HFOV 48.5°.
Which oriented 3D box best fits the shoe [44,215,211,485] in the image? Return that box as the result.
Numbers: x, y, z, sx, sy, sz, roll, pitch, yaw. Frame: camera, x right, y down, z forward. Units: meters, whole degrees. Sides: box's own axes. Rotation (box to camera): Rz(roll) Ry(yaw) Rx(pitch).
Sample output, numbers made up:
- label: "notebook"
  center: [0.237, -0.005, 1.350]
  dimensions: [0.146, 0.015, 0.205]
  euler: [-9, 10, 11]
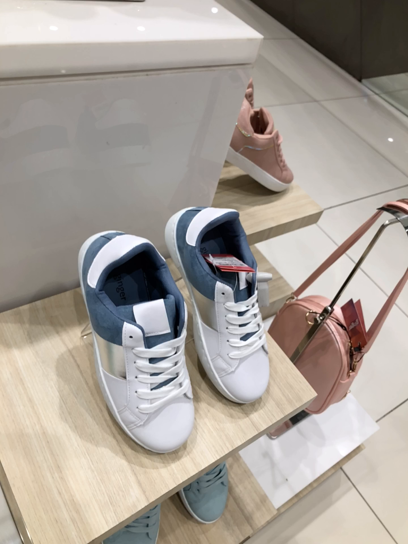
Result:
- label: "shoe"
  center: [-0.080, 0.076, 0.496]
  dimensions: [0.101, 0.259, 0.090]
  euler: [-19, 16, -32]

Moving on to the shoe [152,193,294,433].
- label: "shoe"
  center: [0.027, 0.043, 0.558]
  dimensions: [0.101, 0.259, 0.090]
  euler: [-19, 16, -32]
